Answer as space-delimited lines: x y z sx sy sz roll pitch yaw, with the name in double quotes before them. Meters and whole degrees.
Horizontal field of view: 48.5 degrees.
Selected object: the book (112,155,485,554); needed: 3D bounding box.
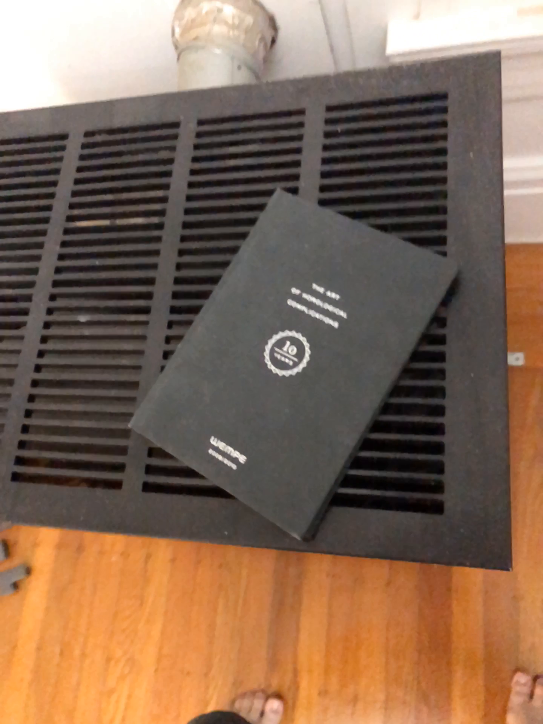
"book" 0.018 -0.019 0.432 0.160 0.020 0.250 28 81 22
